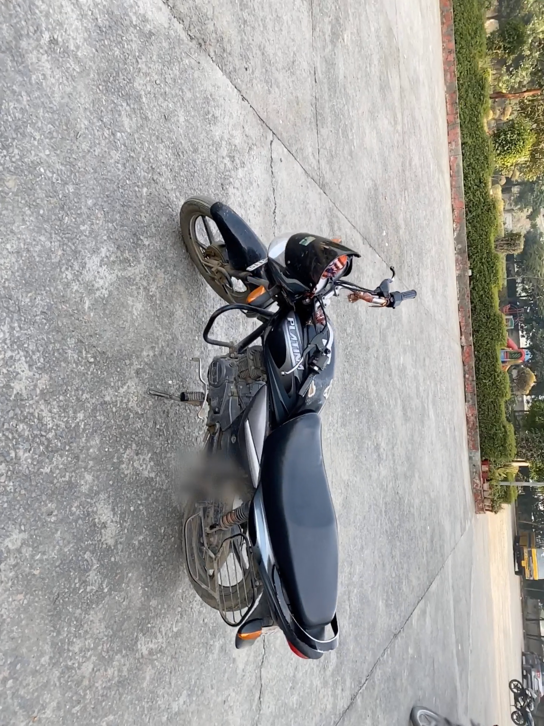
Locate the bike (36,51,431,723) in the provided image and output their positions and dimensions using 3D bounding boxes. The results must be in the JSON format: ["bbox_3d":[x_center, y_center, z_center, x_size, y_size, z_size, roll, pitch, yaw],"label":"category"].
[{"bbox_3d":[-0.110,0.105,1.993,0.775,1.078,1.737,7,80,-66],"label":"bike"}]
